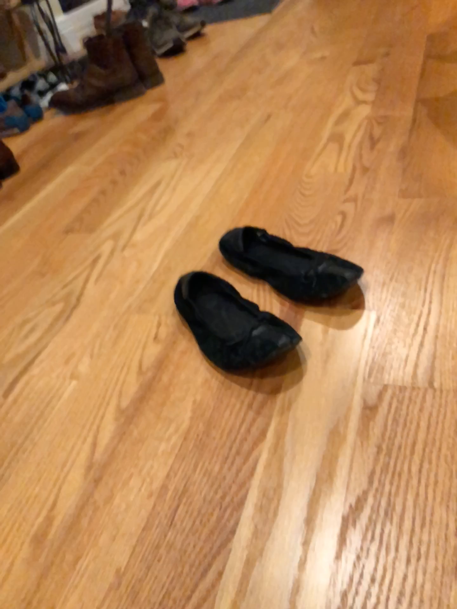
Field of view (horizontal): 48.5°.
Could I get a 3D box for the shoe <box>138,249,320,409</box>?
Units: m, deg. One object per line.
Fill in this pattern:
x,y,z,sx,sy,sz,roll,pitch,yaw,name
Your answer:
-0.008,0.016,0.592,0.100,0.050,0.221,-32,40,-19,shoe

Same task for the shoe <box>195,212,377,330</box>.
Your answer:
0.067,-0.052,0.648,0.093,0.046,0.221,-38,42,-26,shoe
